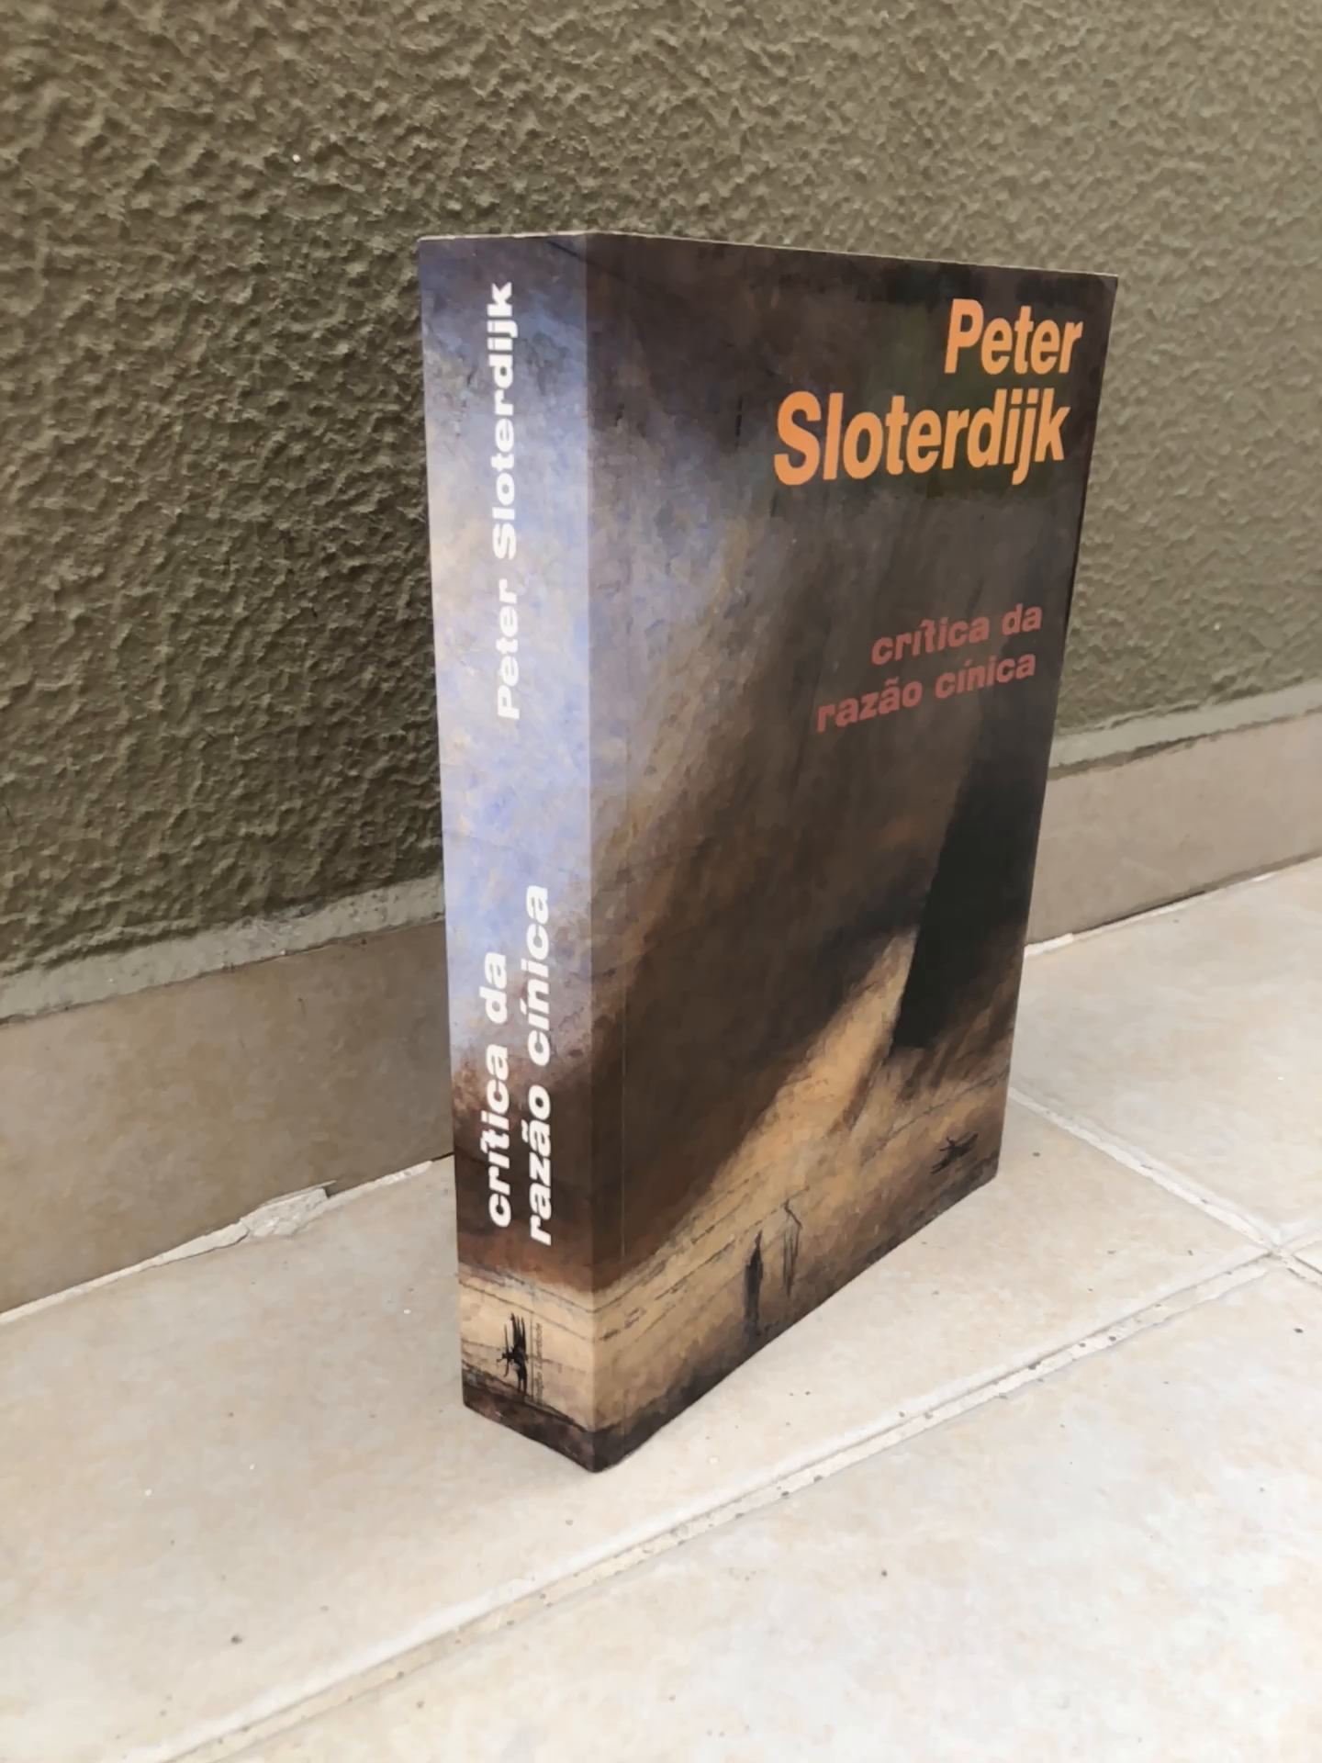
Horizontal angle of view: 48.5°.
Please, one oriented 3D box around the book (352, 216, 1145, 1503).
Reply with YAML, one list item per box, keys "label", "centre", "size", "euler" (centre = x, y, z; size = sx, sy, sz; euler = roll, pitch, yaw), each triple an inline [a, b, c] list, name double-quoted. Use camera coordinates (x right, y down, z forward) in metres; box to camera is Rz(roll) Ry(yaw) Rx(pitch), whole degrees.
- label: "book"
  centre: [0.025, -0.016, 0.313]
  size: [0.058, 0.220, 0.166]
  euler: [18, 26, 38]
